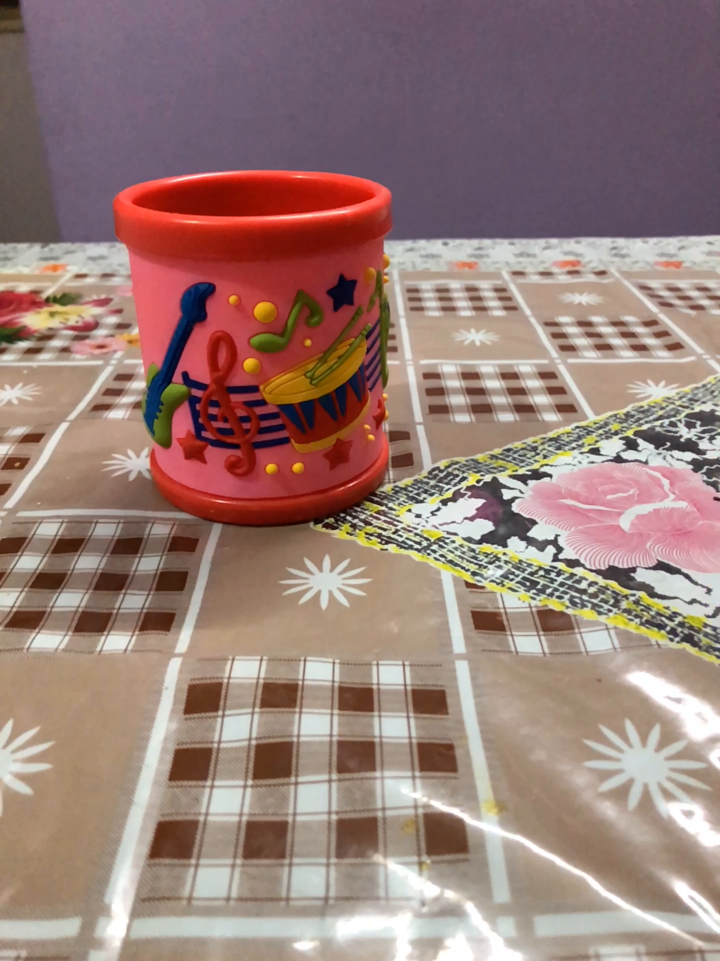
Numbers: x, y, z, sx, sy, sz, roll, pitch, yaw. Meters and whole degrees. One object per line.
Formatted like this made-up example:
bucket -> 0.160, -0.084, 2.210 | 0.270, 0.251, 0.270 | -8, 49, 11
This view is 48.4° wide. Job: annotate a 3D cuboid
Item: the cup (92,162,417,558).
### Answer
cup -> -0.032, -0.043, 0.257 | 0.080, 0.099, 0.080 | 0, 29, 0
